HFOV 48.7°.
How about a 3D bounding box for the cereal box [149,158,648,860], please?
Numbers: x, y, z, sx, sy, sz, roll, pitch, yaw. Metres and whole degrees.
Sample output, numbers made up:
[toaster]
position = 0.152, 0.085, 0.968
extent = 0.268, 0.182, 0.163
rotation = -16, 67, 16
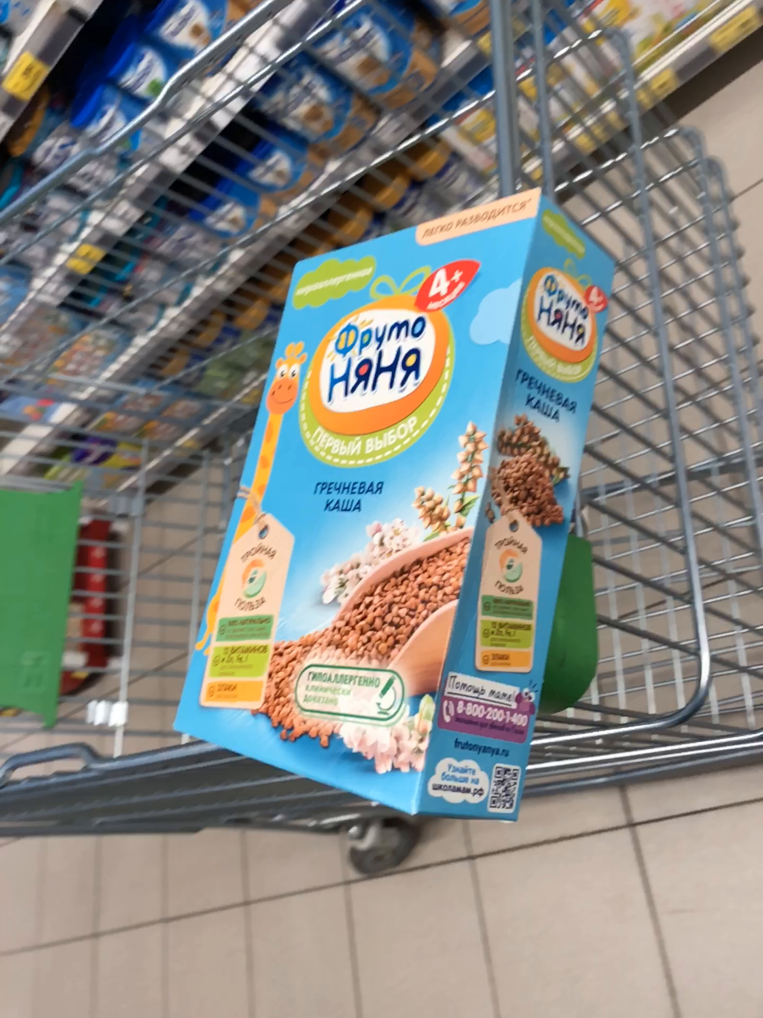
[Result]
[cereal box]
position = 0.002, -0.002, 0.313
extent = 0.151, 0.050, 0.210
rotation = 1, 73, 46
